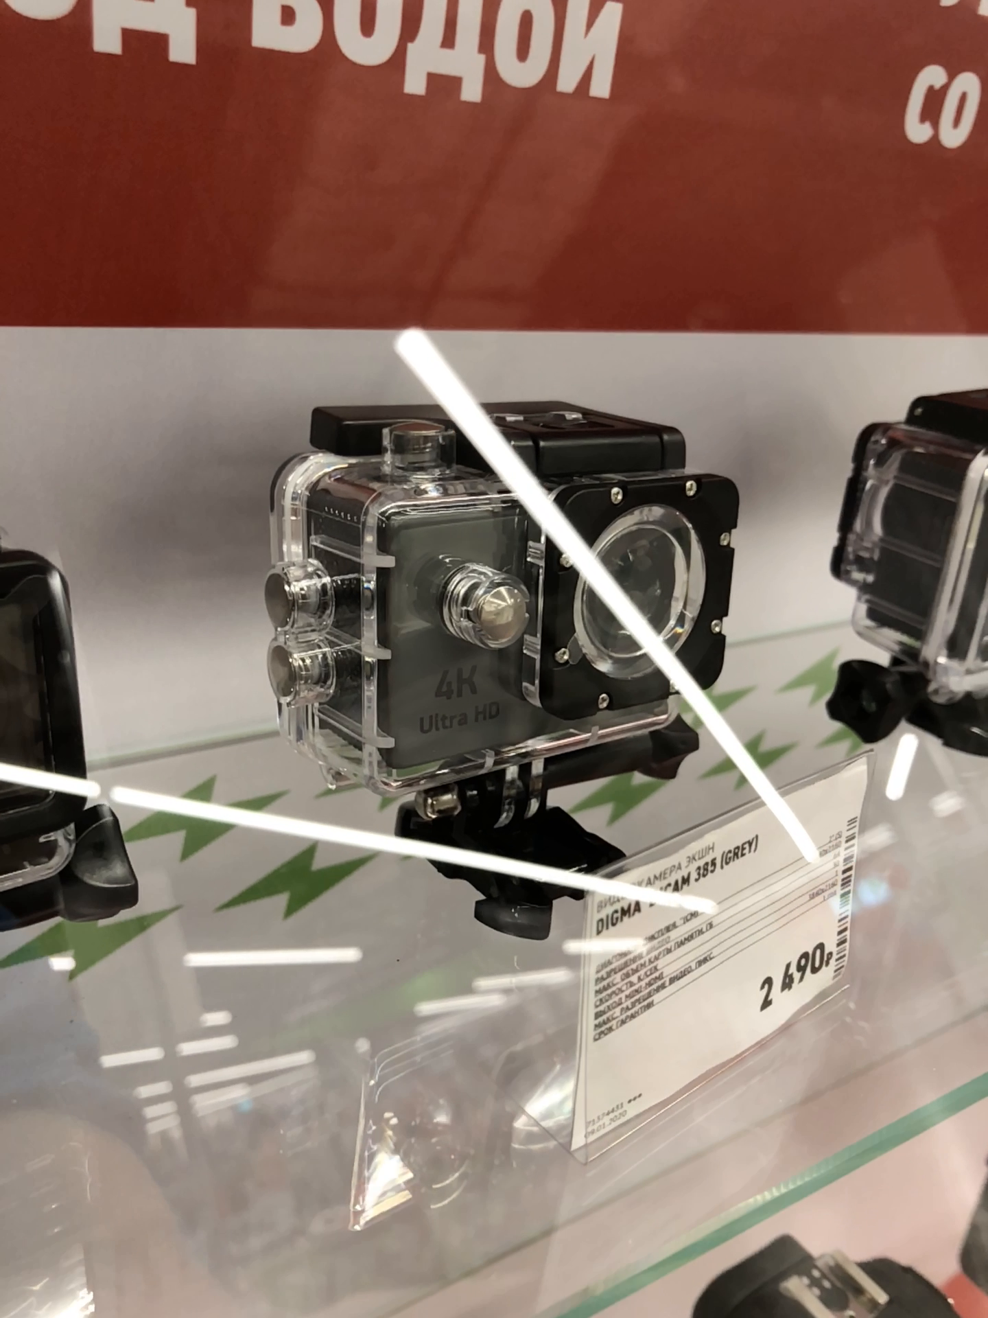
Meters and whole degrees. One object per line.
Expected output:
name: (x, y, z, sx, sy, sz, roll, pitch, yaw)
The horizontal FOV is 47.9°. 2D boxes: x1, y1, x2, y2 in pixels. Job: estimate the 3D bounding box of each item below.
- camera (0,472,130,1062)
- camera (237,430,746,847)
camera: (-0.087, 0.005, 0.132, 0.072, 0.046, 0.036, -12, 21, -36)
camera: (-0.001, -0.009, 0.206, 0.077, 0.055, 0.048, -10, 24, -33)
